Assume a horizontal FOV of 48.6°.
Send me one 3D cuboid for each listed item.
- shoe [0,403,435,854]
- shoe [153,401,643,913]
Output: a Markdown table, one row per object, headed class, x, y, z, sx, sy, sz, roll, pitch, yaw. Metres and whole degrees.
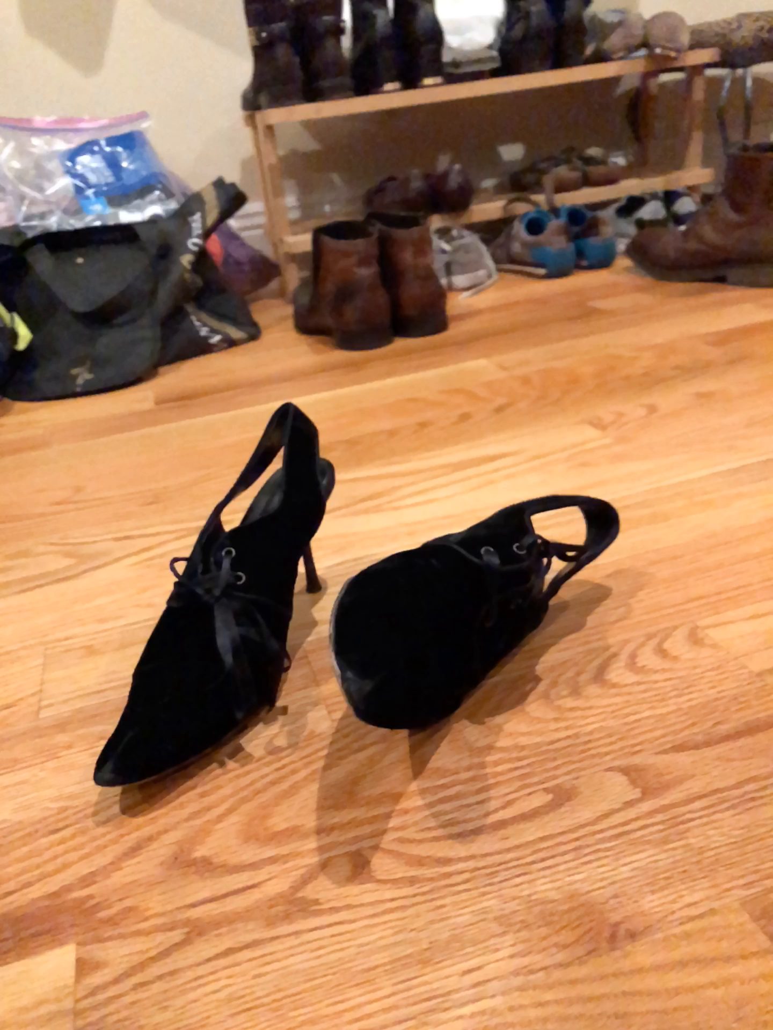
| class | x | y | z | sx | sy | sz | roll | pitch | yaw |
| --- | --- | --- | --- | --- | --- | --- | --- | --- | --- |
| shoe | -0.076 | 0.037 | 0.475 | 0.107 | 0.117 | 0.253 | 5 | 28 | 25 |
| shoe | 0.031 | 0.038 | 0.418 | 0.118 | 0.107 | 0.253 | 6 | 28 | 30 |
